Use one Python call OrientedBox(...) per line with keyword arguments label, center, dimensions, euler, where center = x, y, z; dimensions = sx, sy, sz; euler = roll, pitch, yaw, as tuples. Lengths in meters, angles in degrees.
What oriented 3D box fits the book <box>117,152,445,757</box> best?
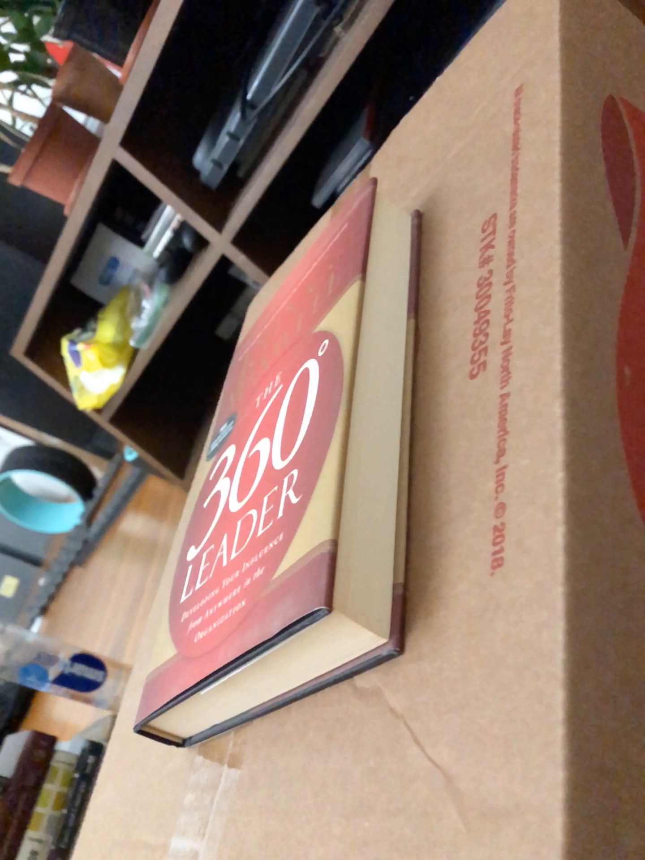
OrientedBox(label="book", center=(-0.015, 0.008, 0.336), dimensions=(0.180, 0.030, 0.241), euler=(-42, 28, 44))
